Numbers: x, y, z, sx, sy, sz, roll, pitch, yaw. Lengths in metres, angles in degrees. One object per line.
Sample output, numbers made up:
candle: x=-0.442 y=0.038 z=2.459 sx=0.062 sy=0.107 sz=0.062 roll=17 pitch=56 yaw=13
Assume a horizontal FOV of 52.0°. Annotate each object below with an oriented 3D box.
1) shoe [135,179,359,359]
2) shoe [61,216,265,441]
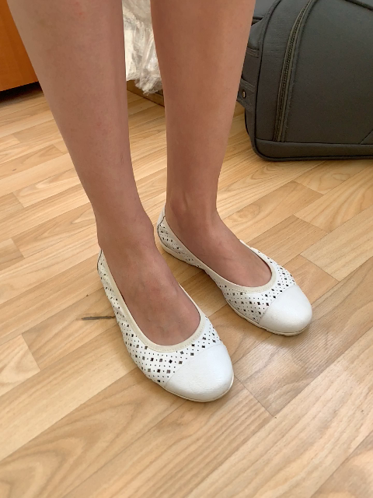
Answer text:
shoe: x=0.059 y=0.007 z=0.481 sx=0.090 sy=0.070 sz=0.271 roll=-35 pitch=49 yaw=-27
shoe: x=-0.041 y=0.070 z=0.454 sx=0.100 sy=0.070 sz=0.271 roll=-29 pitch=46 yaw=-22
